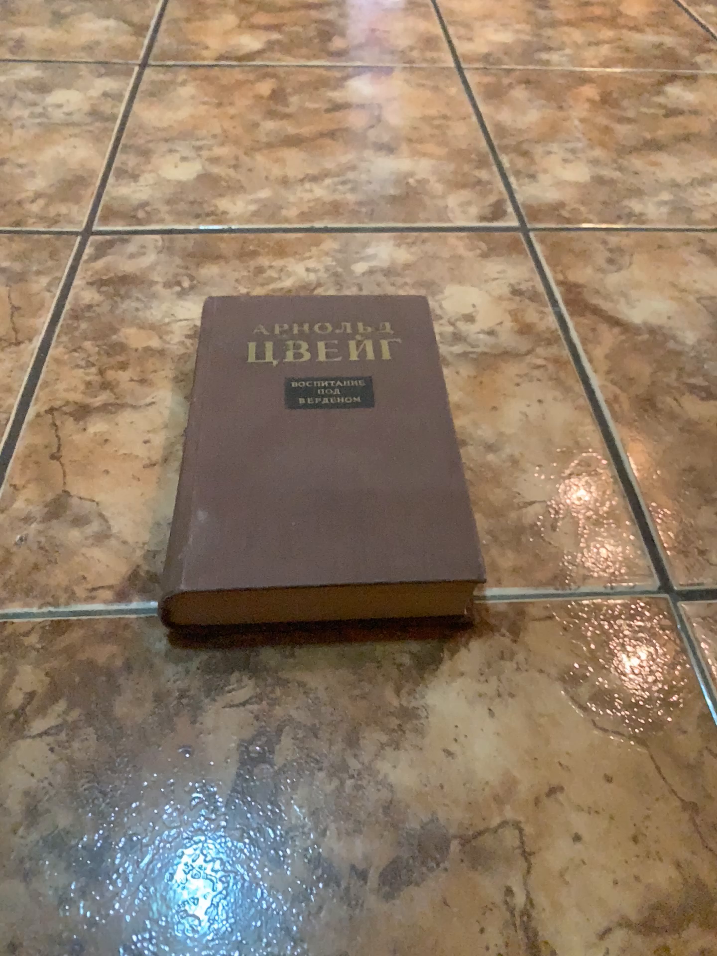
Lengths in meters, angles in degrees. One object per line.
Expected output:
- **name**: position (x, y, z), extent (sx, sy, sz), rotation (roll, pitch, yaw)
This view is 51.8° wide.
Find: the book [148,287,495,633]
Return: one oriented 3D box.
- **book**: position (-0.020, -0.023, 0.377), extent (0.139, 0.034, 0.206), rotation (-1, 48, -4)
